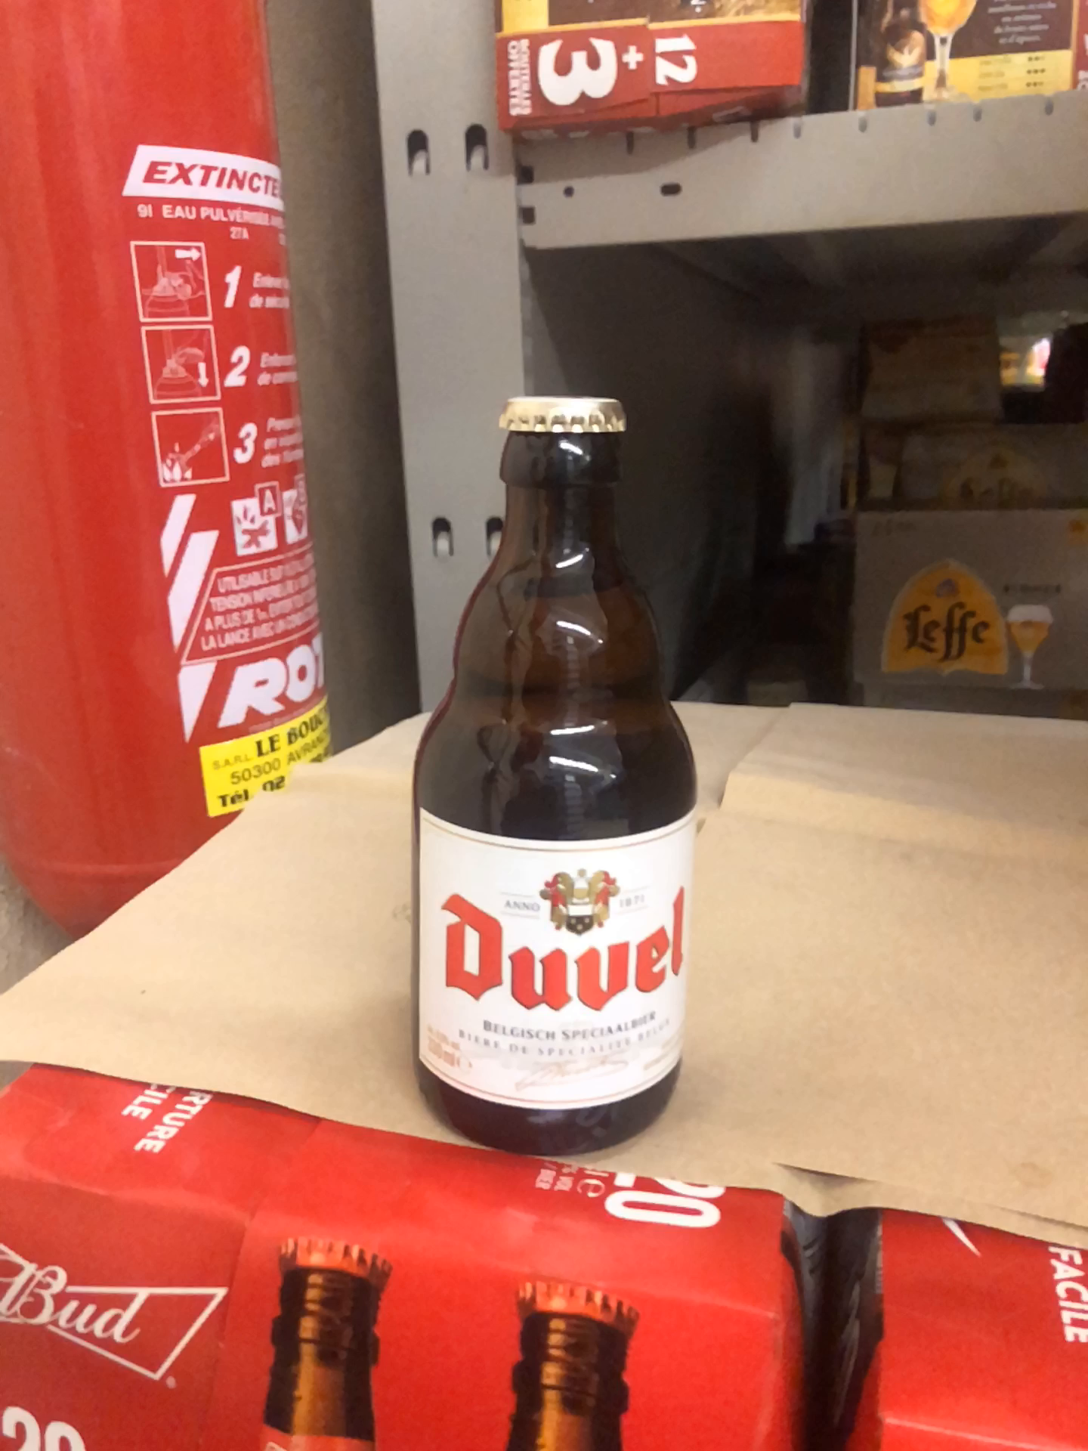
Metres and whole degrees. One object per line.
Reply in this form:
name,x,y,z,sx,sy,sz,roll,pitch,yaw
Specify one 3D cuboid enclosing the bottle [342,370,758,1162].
bottle,0.004,0.006,0.286,0.080,0.169,0.070,-3,15,0
